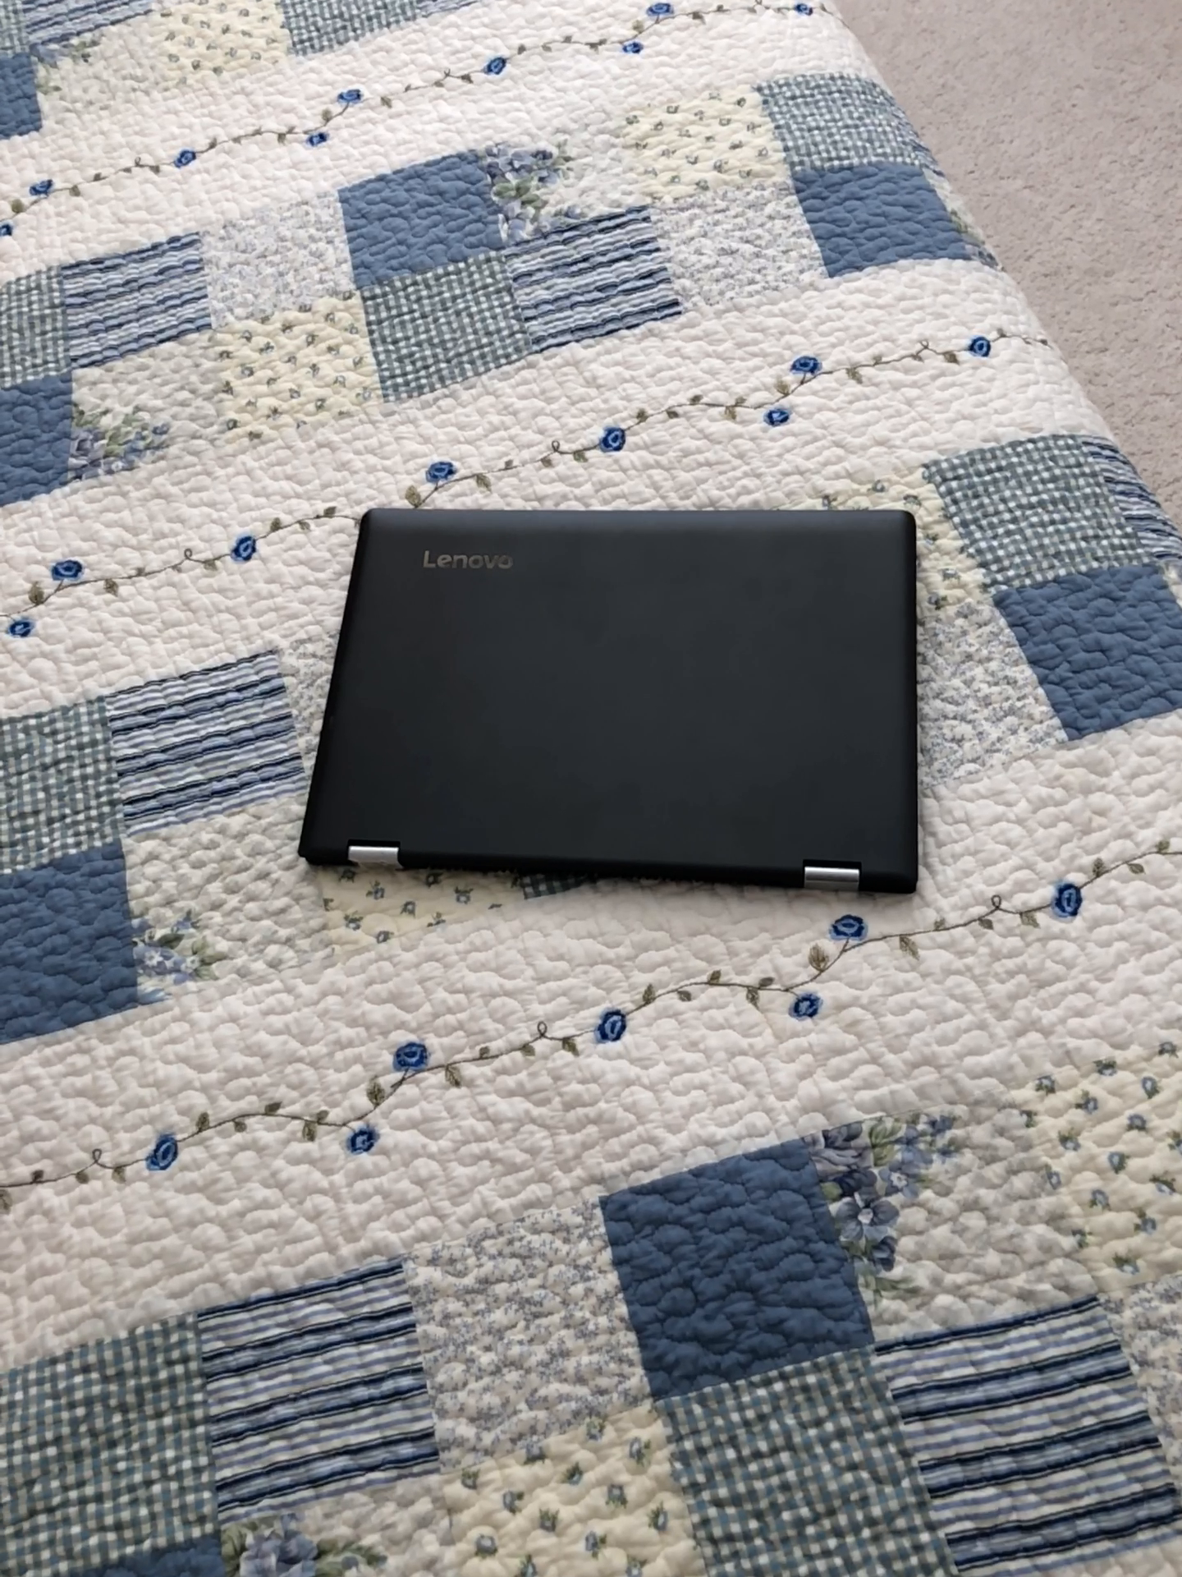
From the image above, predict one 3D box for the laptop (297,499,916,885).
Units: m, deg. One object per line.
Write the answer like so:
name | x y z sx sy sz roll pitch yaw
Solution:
laptop | 0.013 -0.062 0.713 0.320 0.008 0.224 2 68 9
